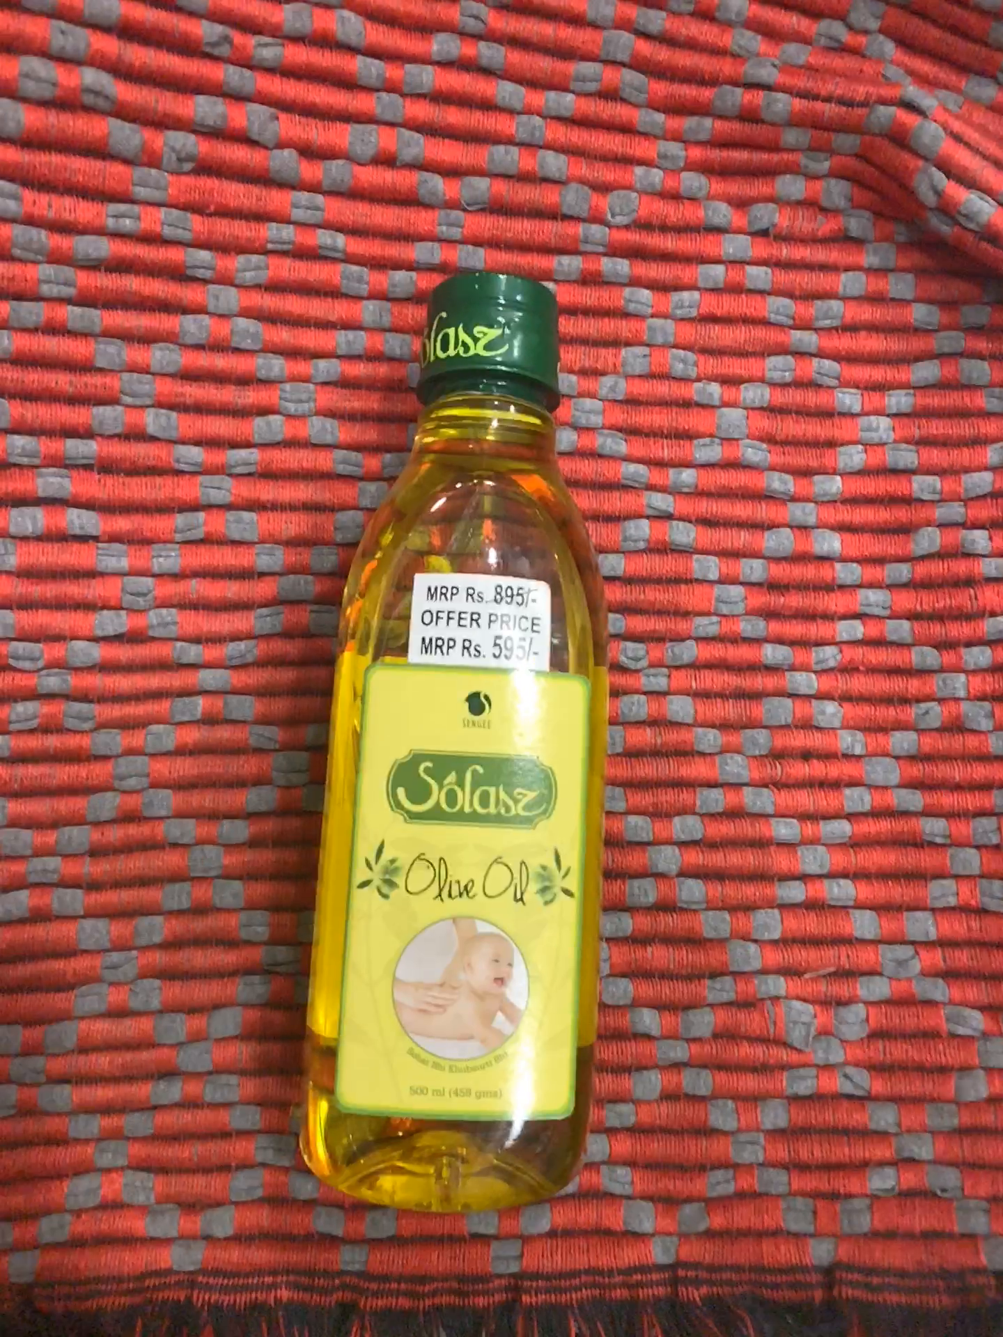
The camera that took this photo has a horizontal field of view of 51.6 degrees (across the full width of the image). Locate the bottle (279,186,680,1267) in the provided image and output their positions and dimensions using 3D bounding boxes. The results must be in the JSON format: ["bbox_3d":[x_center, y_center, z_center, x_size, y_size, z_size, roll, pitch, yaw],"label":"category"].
[{"bbox_3d":[-0.002,0.008,0.244,0.070,0.060,0.220,4,81,-2],"label":"bottle"}]
